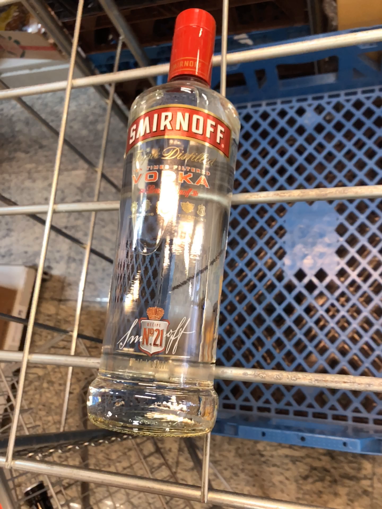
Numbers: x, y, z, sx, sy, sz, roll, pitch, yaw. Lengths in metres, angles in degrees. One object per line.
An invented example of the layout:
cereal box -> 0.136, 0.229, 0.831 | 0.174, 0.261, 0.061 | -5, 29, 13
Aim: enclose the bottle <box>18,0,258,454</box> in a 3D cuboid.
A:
bottle -> -0.019, -0.043, 0.302 | 0.100, 0.100, 0.310 | 1, 76, 18
